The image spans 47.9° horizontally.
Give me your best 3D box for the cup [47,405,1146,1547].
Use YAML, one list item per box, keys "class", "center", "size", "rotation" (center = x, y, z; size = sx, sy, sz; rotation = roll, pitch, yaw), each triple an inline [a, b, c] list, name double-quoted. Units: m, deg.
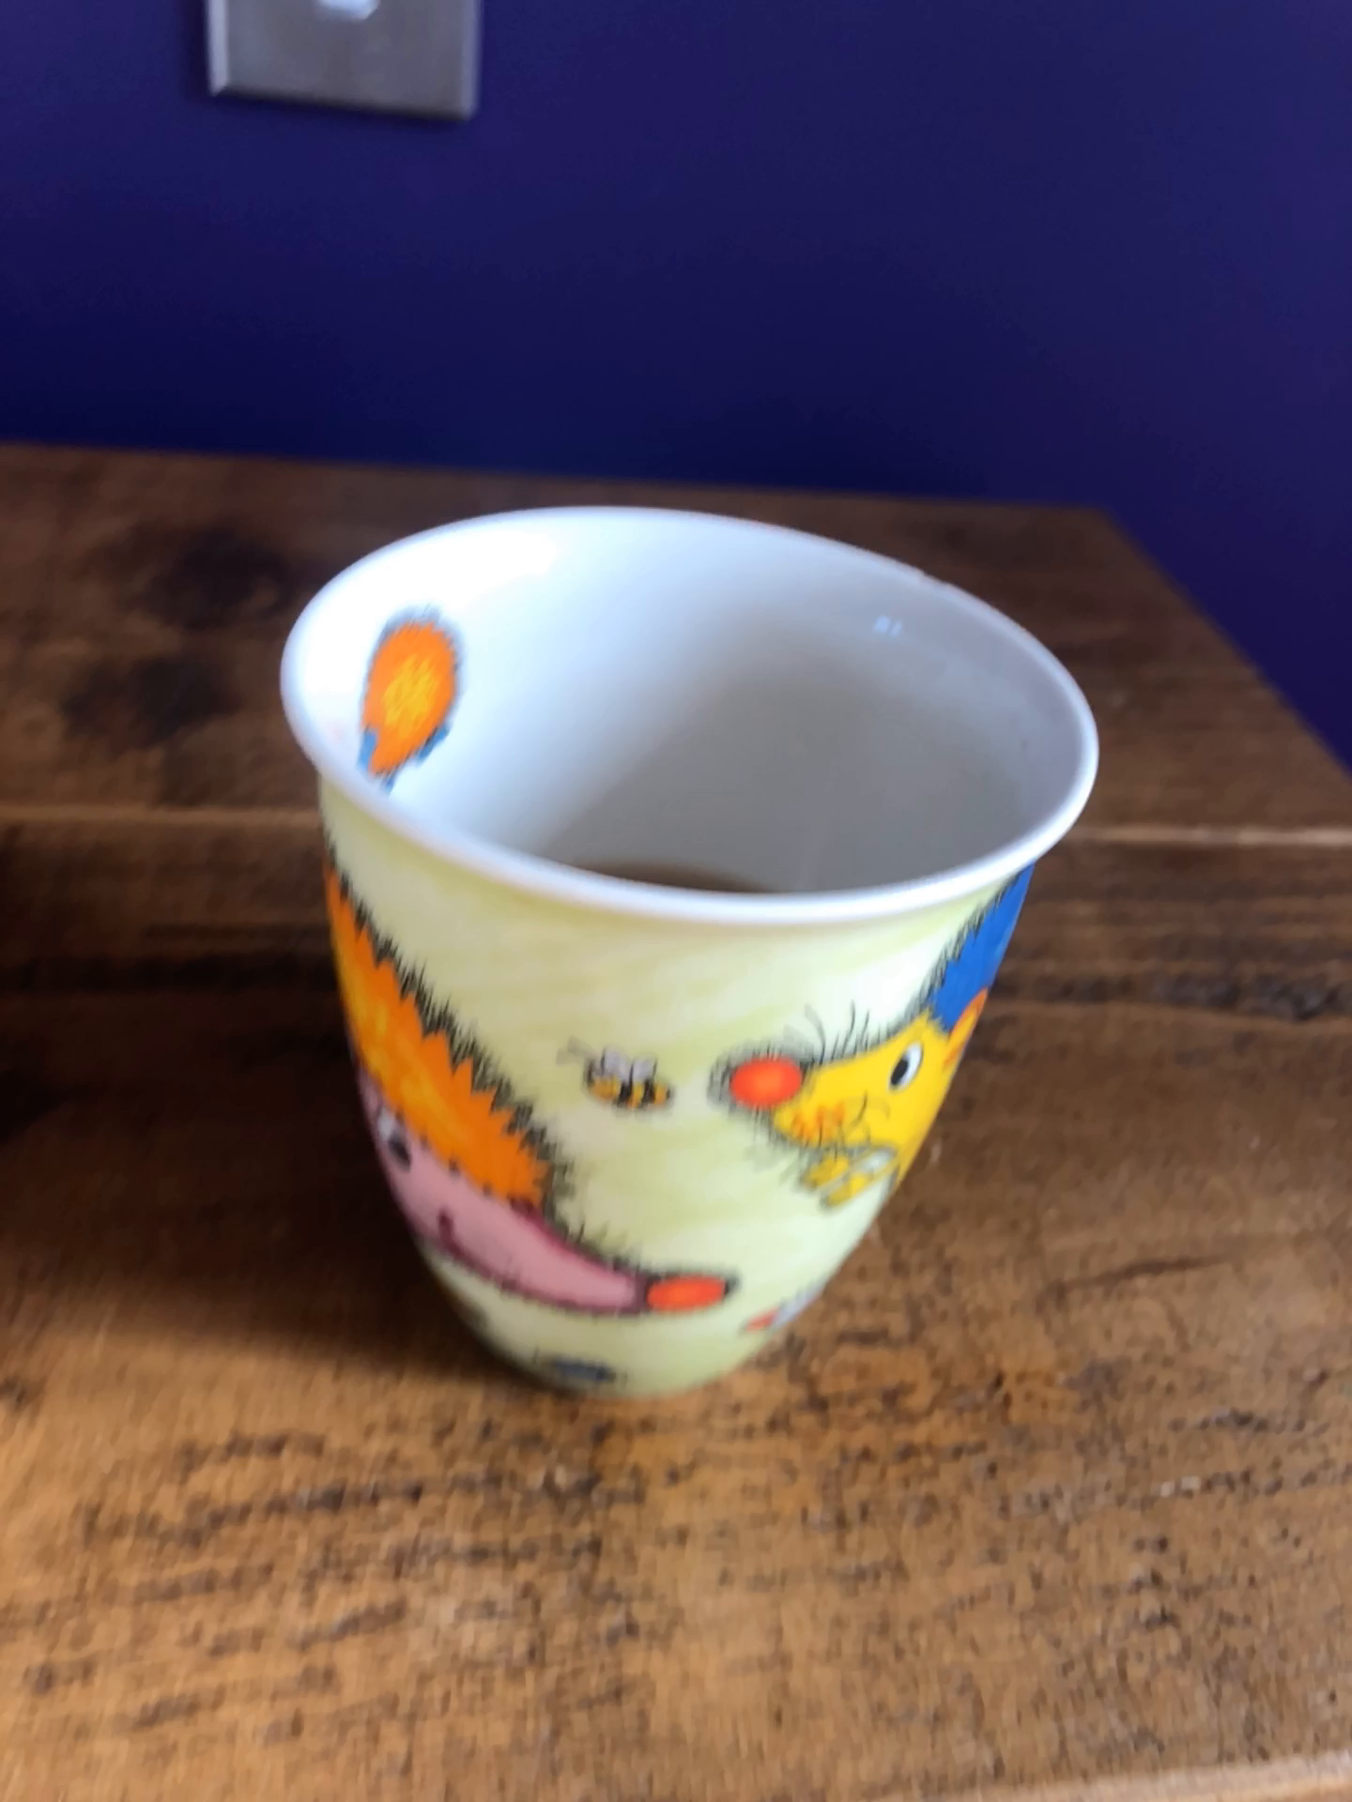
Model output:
- class: "cup"
  center: [-0.002, -0.003, 0.230]
  size: [0.107, 0.089, 0.128]
  rotation: [18, 36, 13]
